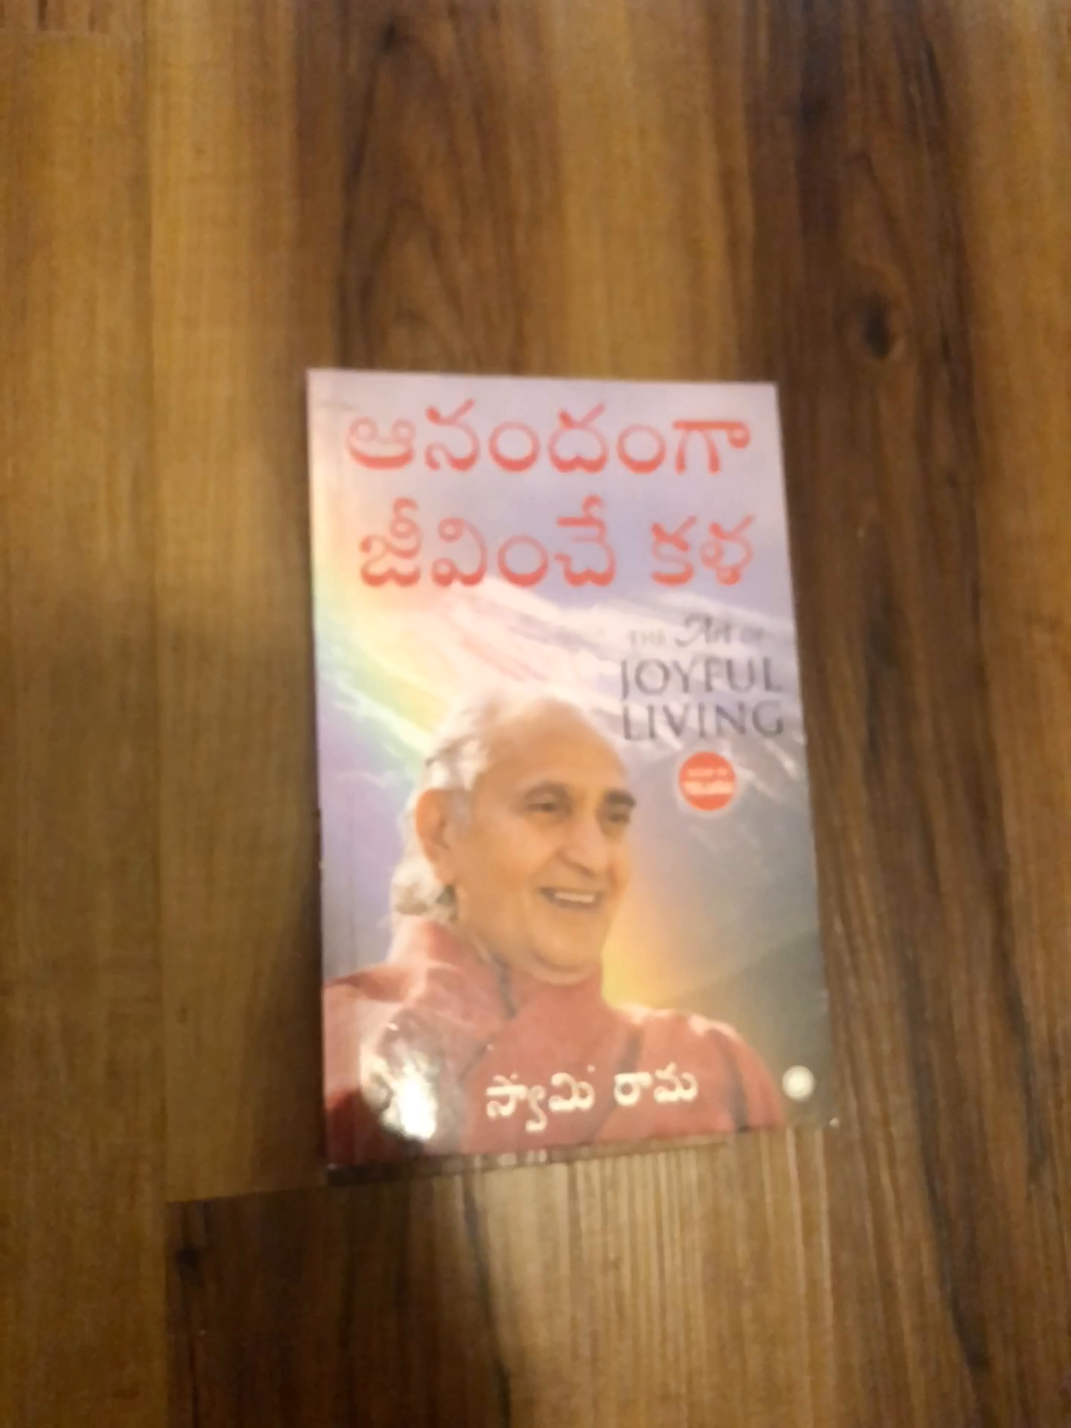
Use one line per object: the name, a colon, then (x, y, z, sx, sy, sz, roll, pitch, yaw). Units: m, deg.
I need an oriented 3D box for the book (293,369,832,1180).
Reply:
book: (0.006, 0.012, 0.347, 0.144, 0.020, 0.219, -1, 83, -10)
